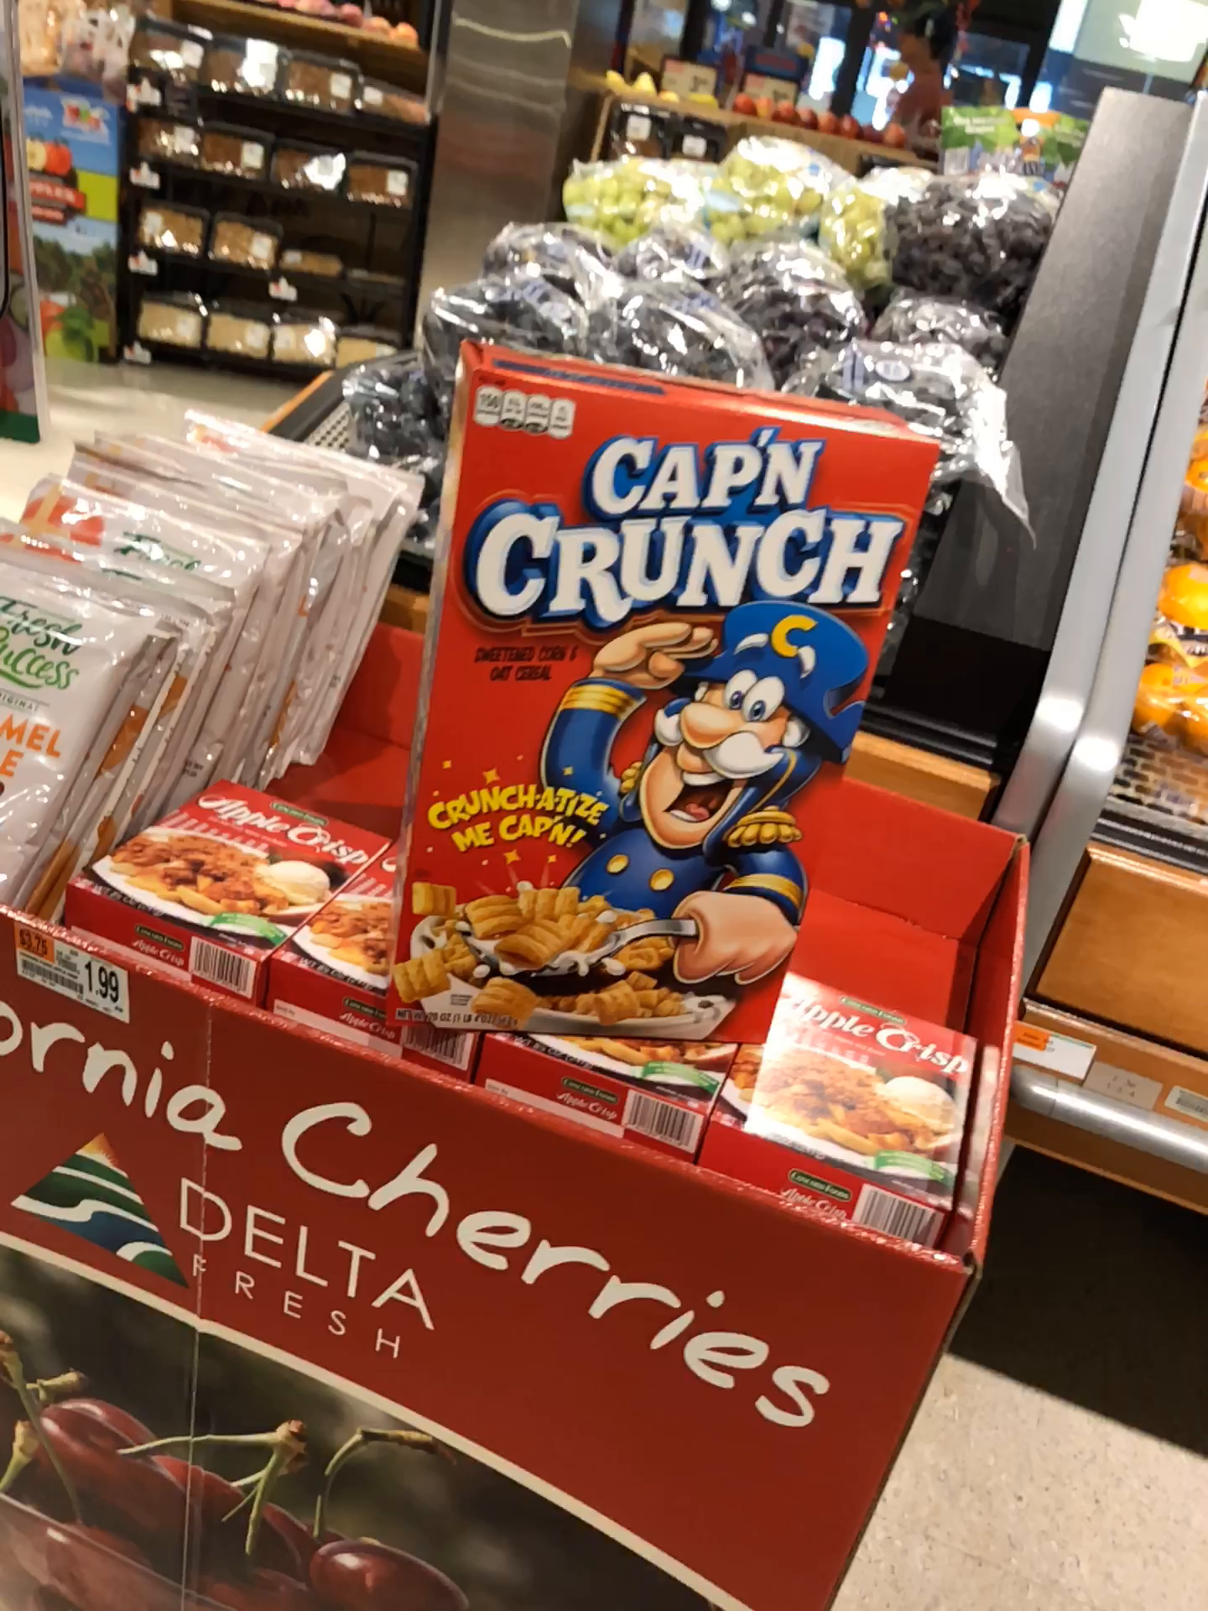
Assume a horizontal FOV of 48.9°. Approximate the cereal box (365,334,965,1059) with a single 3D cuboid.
[{"bbox_3d":[0.013,-0.036,0.647,0.220,0.328,0.070,6,26,-12],"label":"cereal box"}]
